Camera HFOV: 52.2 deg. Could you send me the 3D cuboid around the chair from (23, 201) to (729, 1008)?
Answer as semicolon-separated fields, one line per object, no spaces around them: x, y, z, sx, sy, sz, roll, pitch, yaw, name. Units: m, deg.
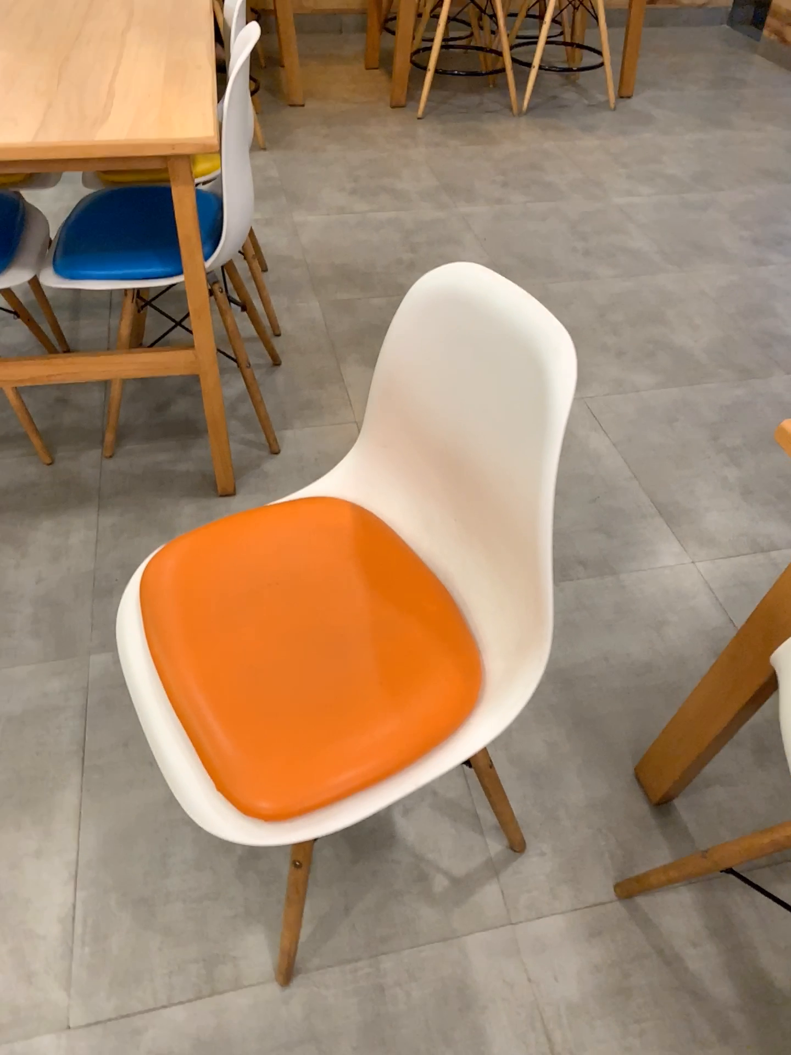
-0.055;0.101;0.934;0.451;0.724;0.443;-19;47;-21;chair
